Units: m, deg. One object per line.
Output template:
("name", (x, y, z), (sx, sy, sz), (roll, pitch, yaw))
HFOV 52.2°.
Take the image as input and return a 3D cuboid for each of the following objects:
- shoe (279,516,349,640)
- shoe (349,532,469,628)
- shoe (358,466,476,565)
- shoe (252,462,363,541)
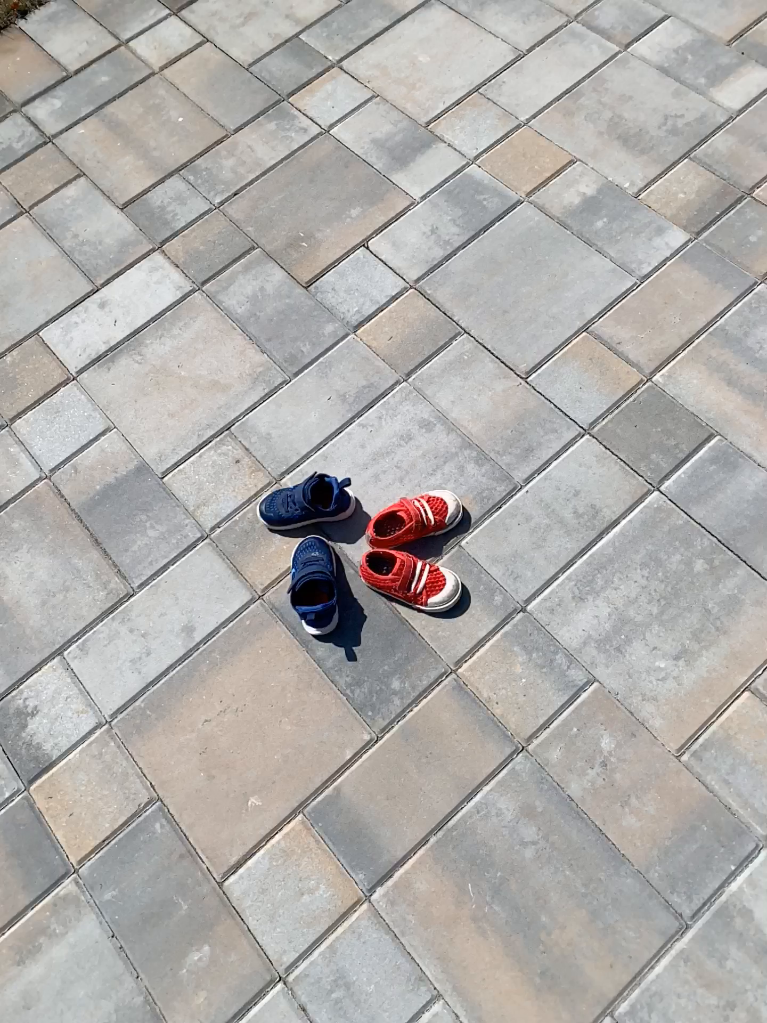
("shoe", (-0.104, 0.101, 1.181), (0.080, 0.080, 0.160), (-9, 65, 2))
("shoe", (0.041, 0.104, 1.192), (0.160, 0.070, 0.080), (18, 69, 14))
("shoe", (0.053, 0.007, 1.218), (0.160, 0.070, 0.080), (-22, 66, -4))
("shoe", (-0.120, -0.015, 1.250), (0.160, 0.070, 0.080), (-9, 65, 2))
